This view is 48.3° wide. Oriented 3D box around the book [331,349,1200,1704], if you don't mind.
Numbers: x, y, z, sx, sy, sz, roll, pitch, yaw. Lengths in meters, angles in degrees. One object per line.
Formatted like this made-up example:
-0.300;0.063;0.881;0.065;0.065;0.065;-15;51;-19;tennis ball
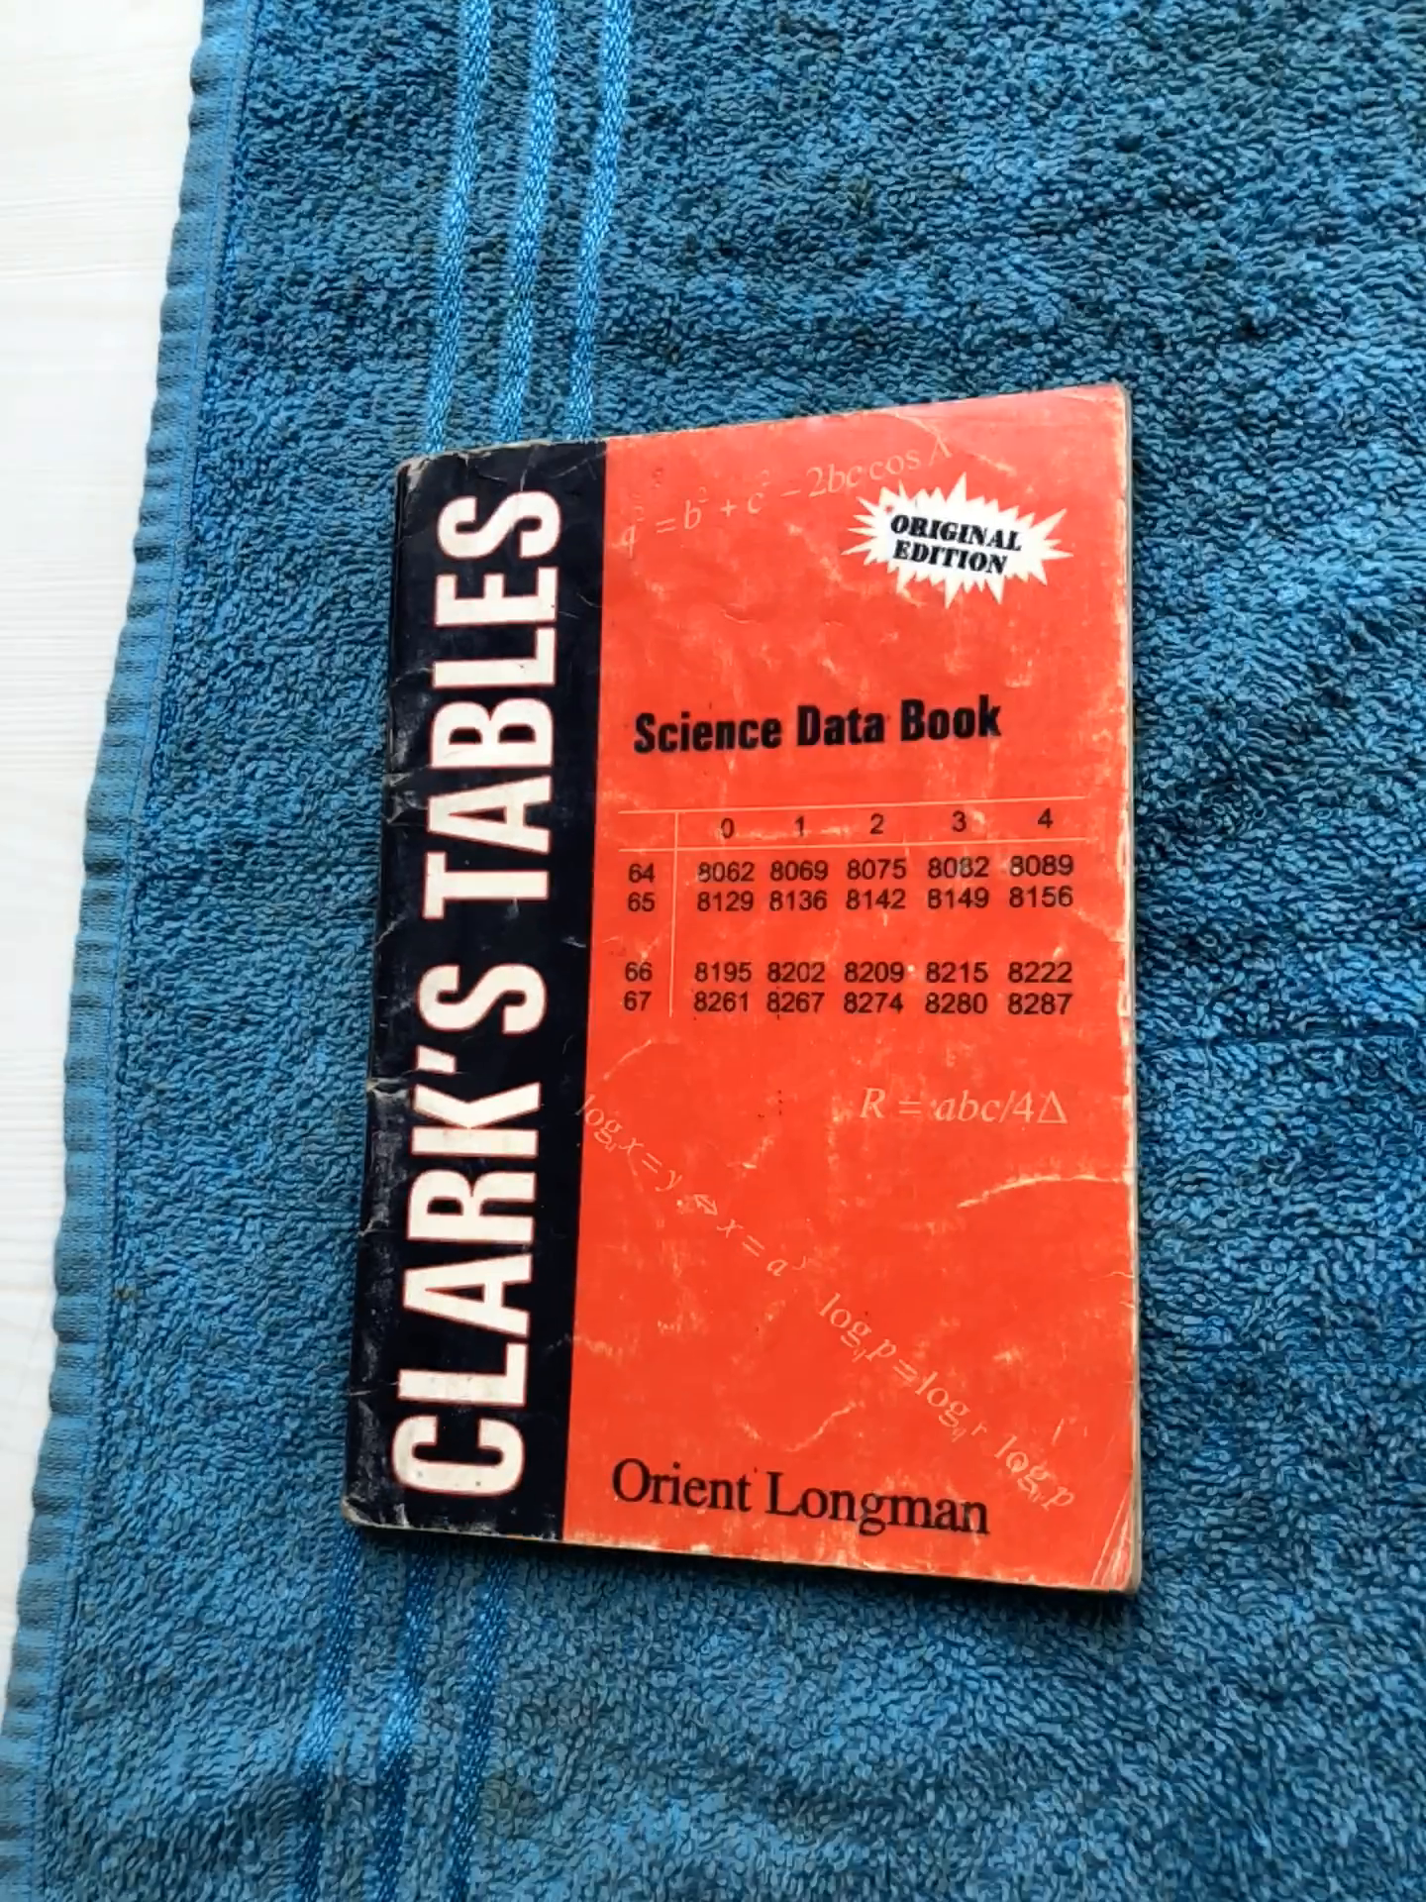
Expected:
0.008;0.008;0.240;0.120;0.030;0.180;-1;83;14;book
